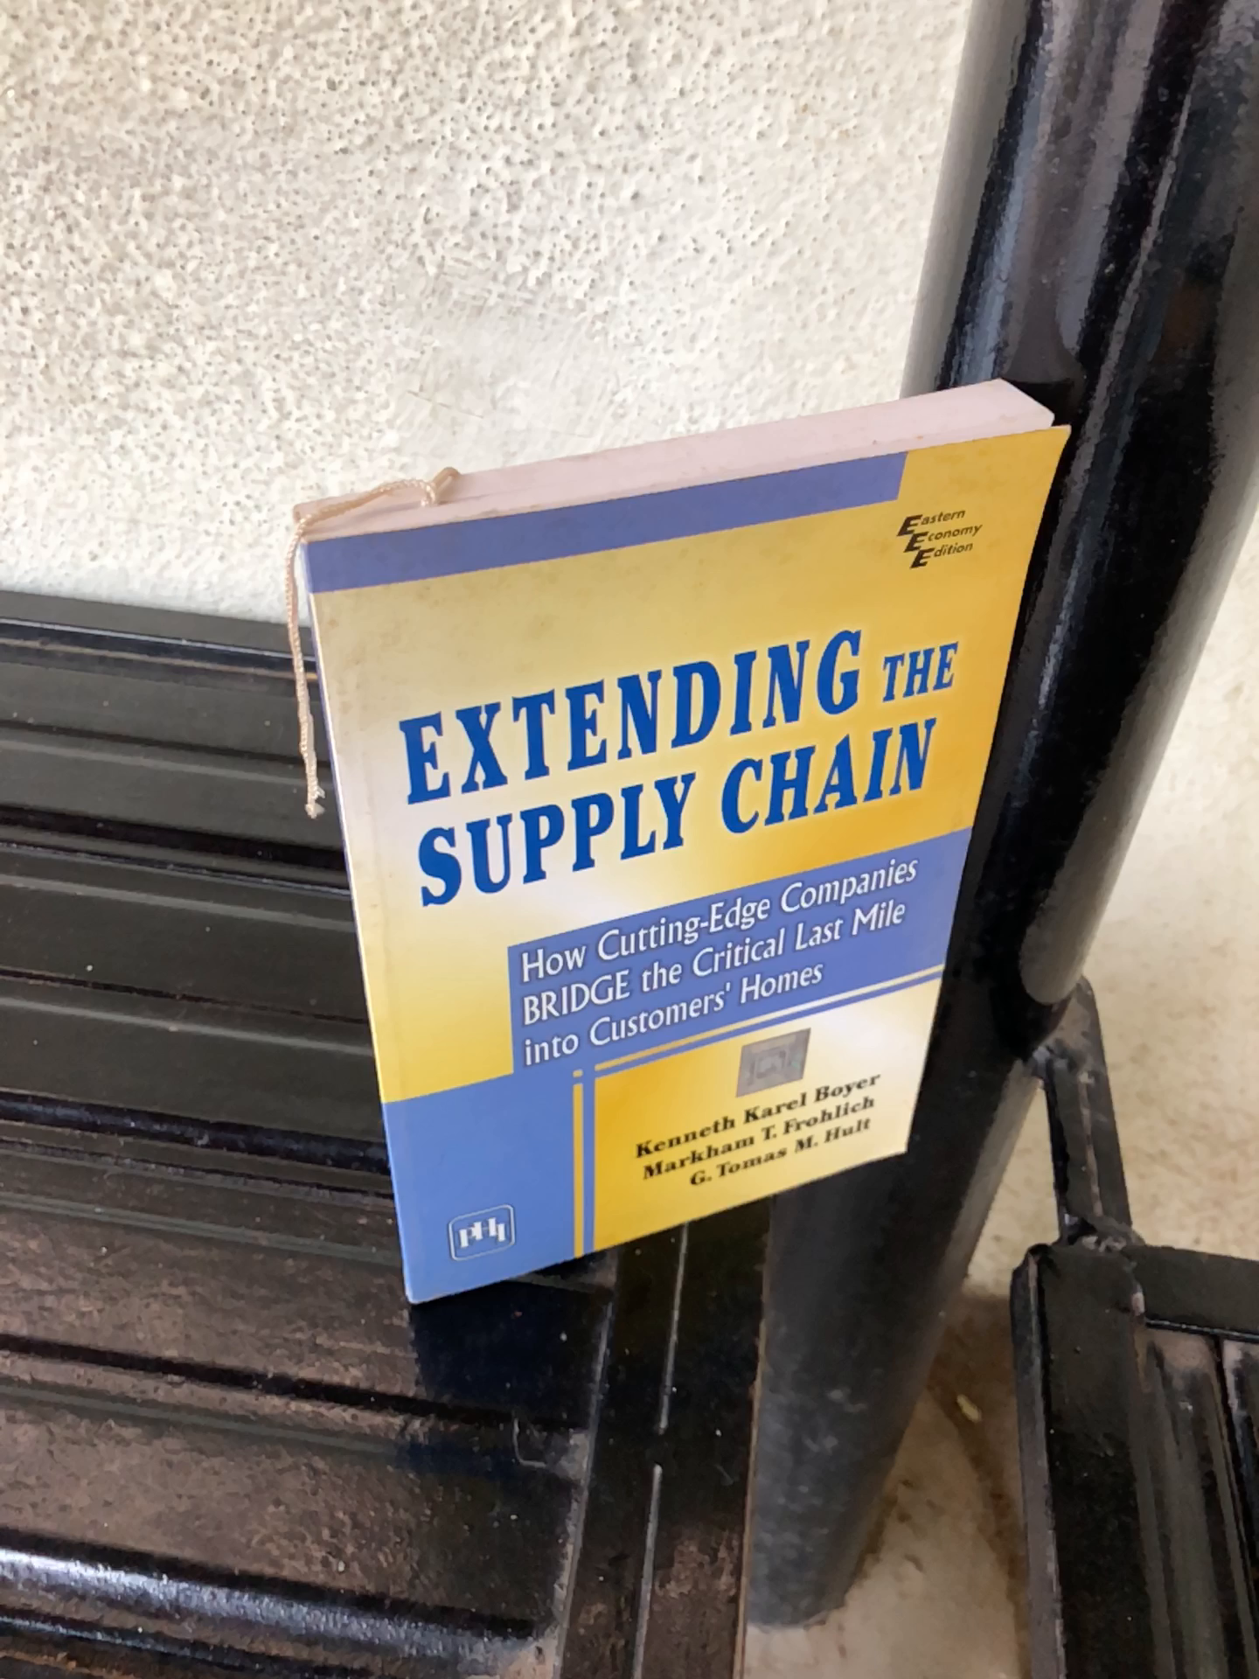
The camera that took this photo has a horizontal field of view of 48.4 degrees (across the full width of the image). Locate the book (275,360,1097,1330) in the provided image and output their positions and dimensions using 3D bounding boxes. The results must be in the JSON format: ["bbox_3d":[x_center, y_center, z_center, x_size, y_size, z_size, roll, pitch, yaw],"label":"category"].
[{"bbox_3d":[0.009,0.014,0.326,0.150,0.229,0.030,-12,41,-18],"label":"book"}]
